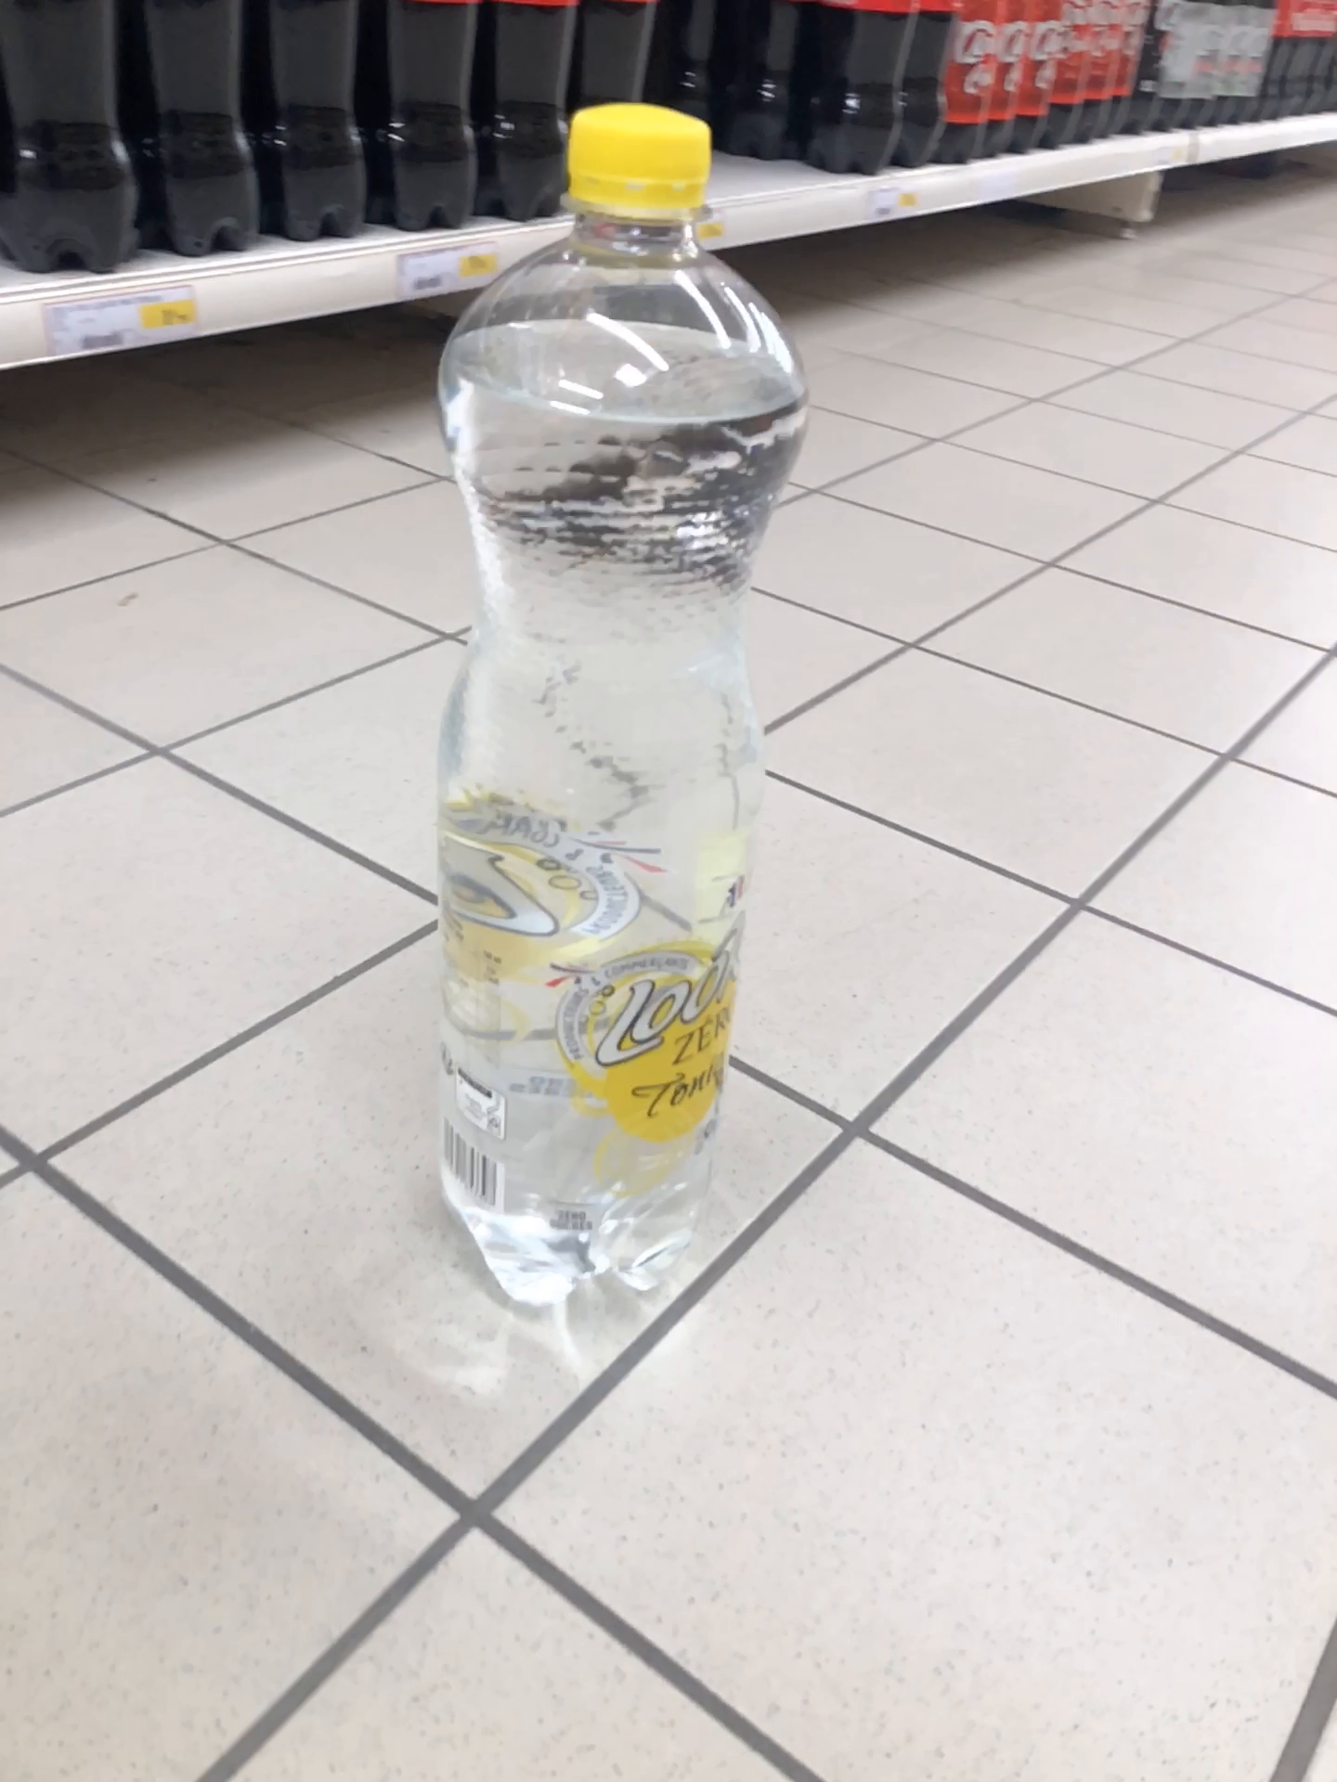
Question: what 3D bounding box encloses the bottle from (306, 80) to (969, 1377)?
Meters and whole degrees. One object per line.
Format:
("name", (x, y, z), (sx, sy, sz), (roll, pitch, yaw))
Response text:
("bottle", (-0.018, -0.032, 0.396), (0.100, 0.318, 0.101), (4, 32, -2))
